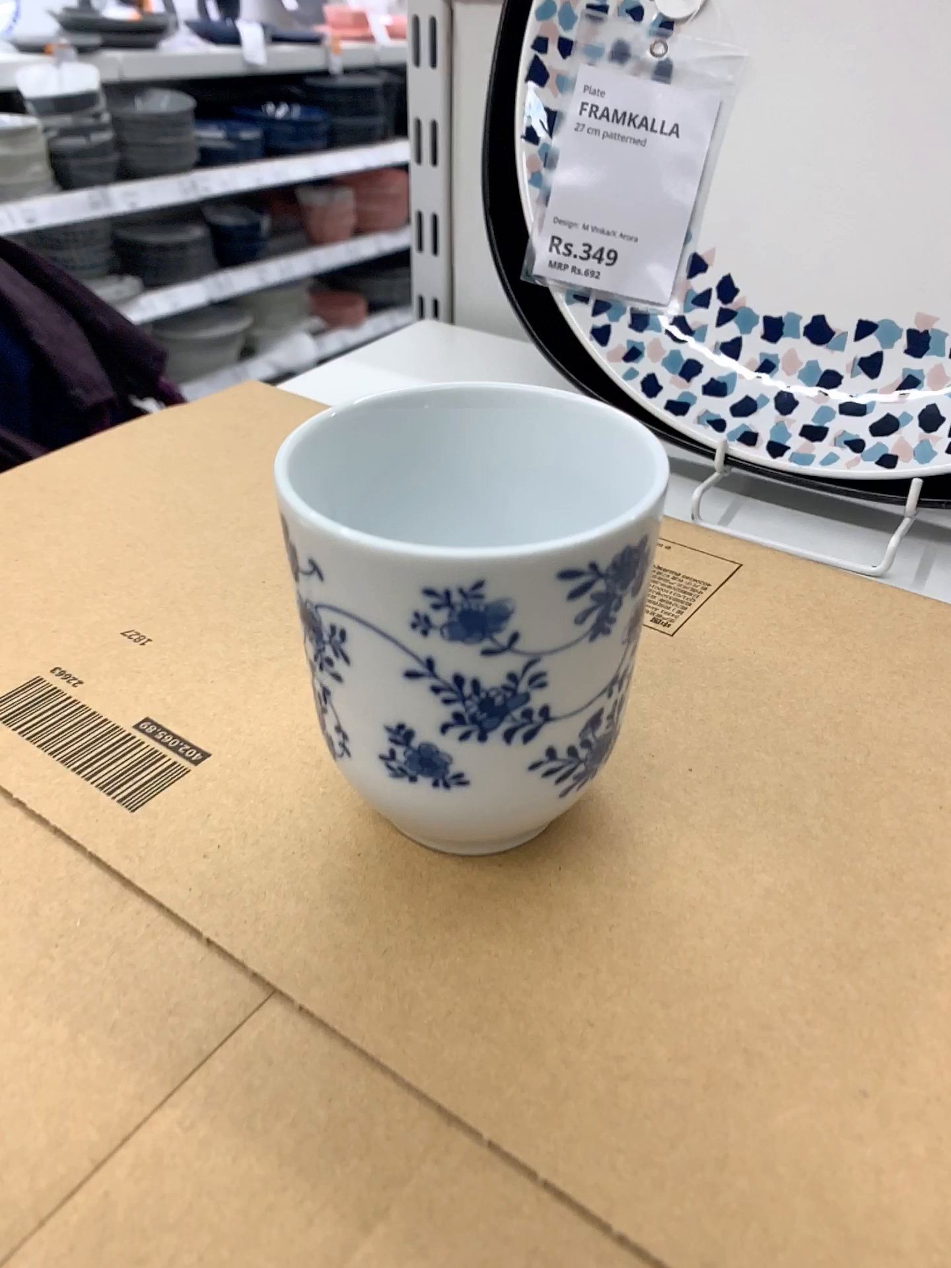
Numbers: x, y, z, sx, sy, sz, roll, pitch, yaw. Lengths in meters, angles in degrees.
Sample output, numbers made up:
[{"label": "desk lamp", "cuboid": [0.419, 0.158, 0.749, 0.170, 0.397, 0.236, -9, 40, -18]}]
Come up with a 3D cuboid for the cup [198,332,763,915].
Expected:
[{"label": "cup", "cuboid": [0.001, -0.006, 0.195, 0.080, 0.080, 0.080, 1, 34, -1]}]
